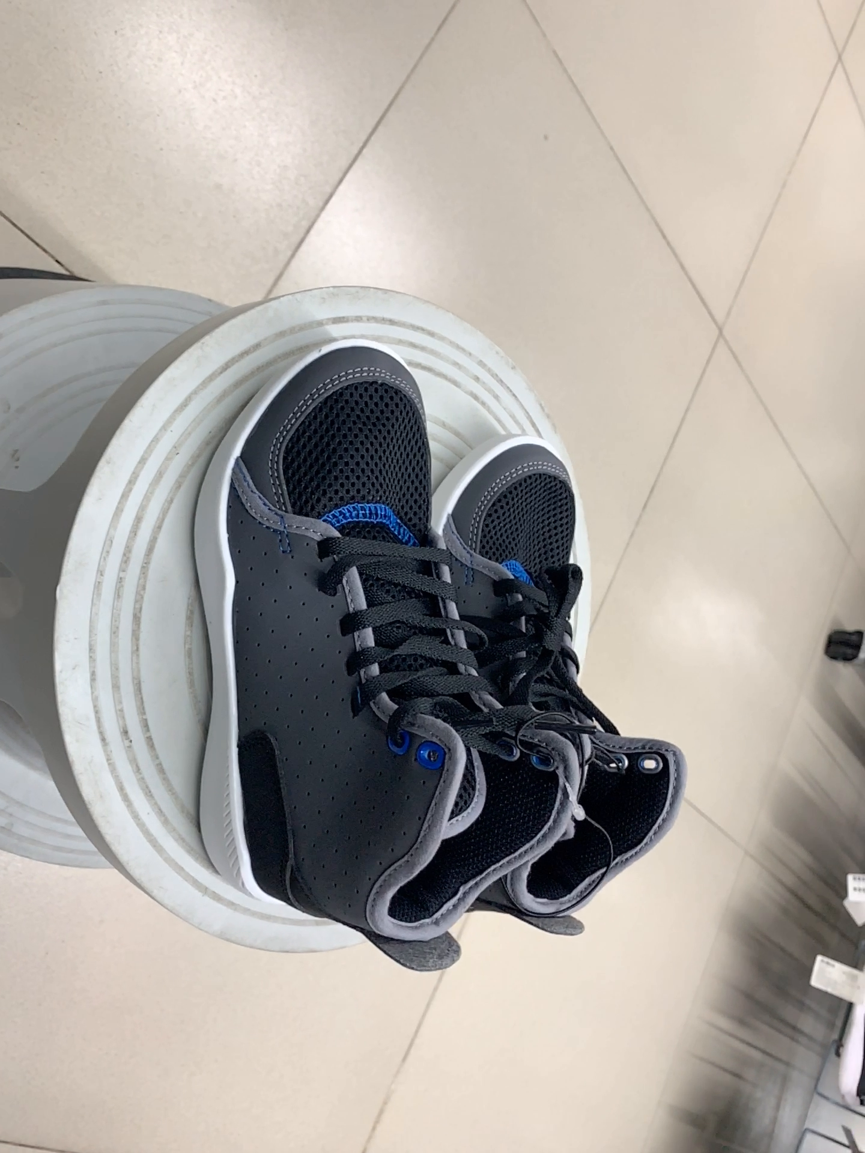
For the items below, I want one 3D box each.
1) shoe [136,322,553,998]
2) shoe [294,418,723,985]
[{"bbox_3d":[-0.034,0.025,0.329,0.090,0.099,0.200,6,91,-42],"label":"shoe"},{"bbox_3d":[0.031,0.045,0.380,0.080,0.119,0.200,18,83,-42],"label":"shoe"}]
